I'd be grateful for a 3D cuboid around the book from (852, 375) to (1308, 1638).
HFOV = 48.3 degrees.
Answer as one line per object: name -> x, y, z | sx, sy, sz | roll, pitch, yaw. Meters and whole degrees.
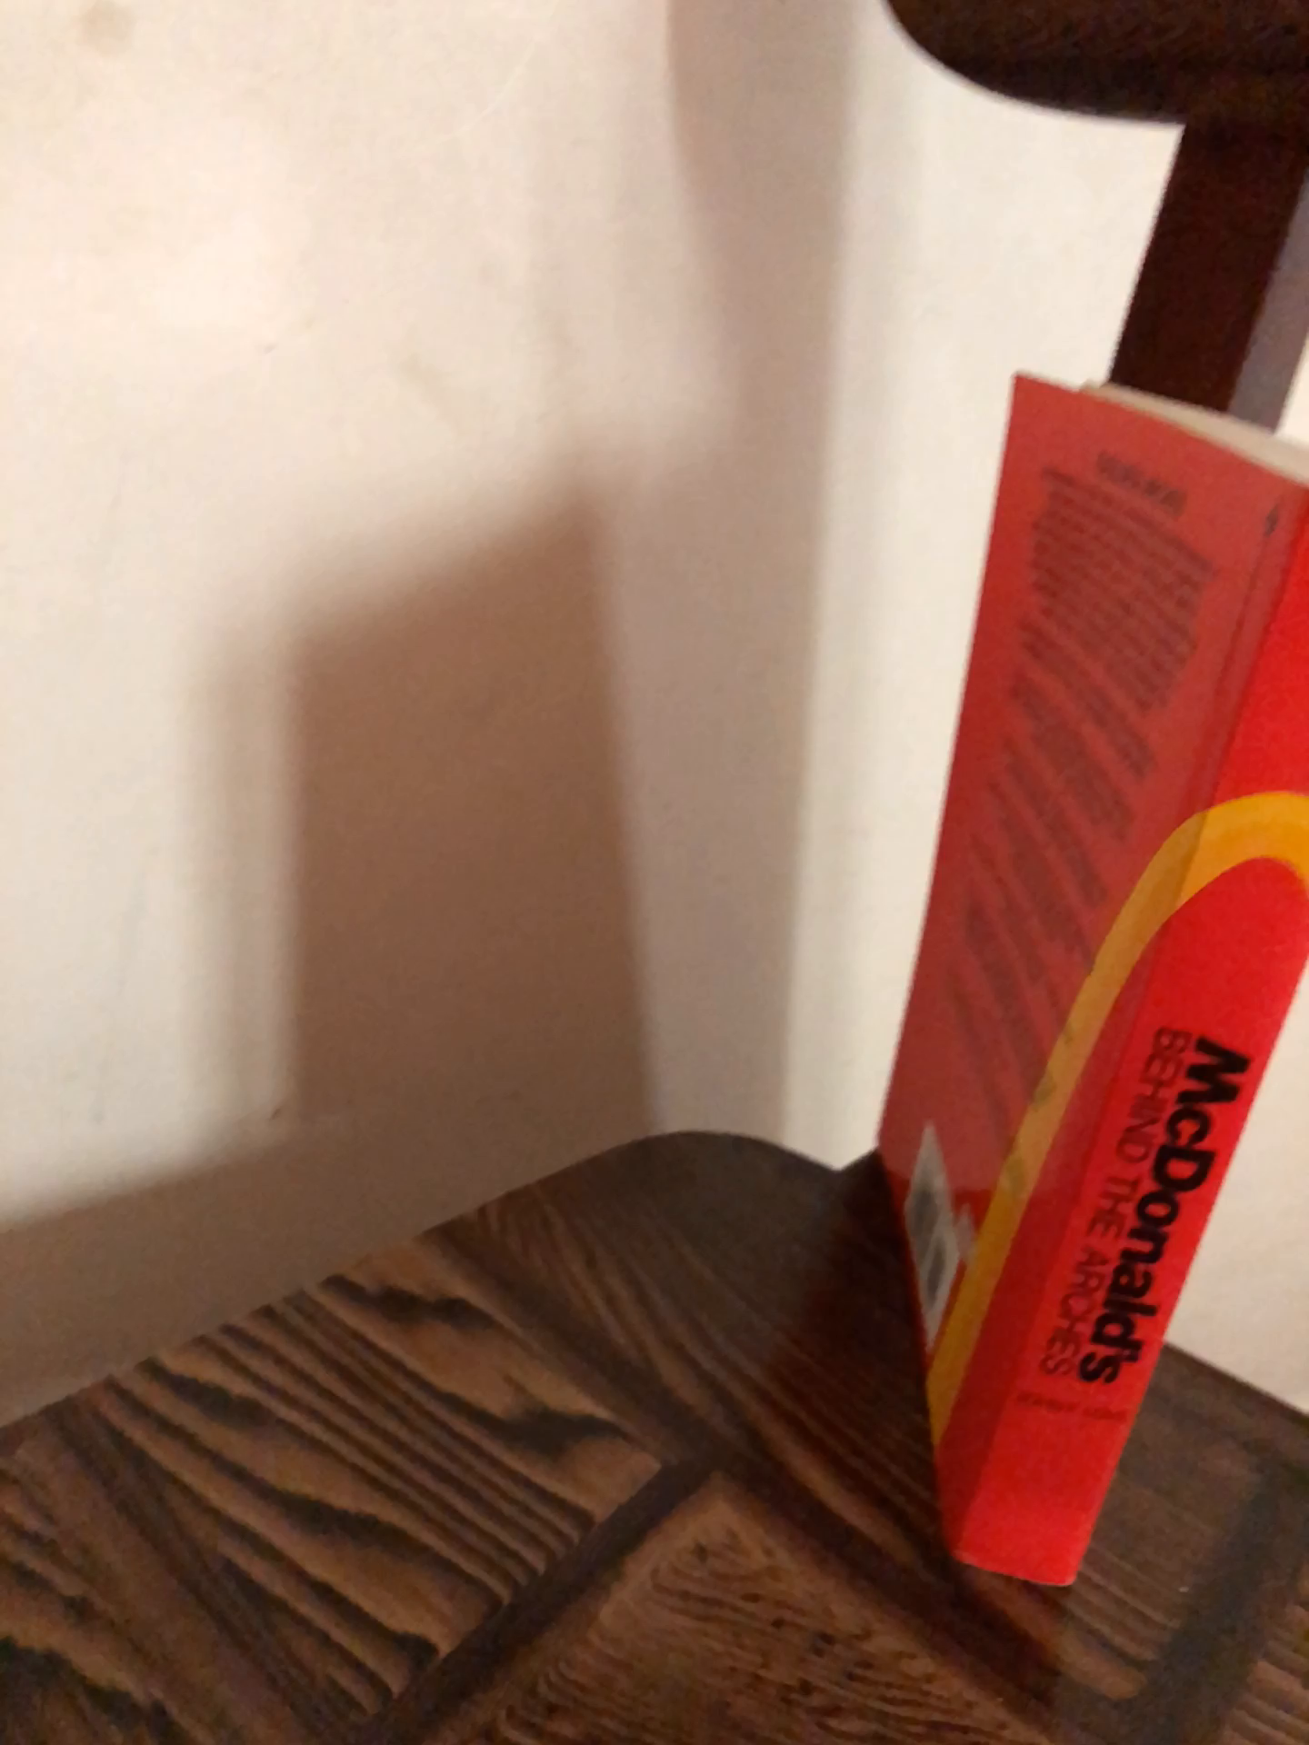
book -> 0.090, 0.010, 0.349 | 0.040, 0.239, 0.191 | 9, 20, 3
